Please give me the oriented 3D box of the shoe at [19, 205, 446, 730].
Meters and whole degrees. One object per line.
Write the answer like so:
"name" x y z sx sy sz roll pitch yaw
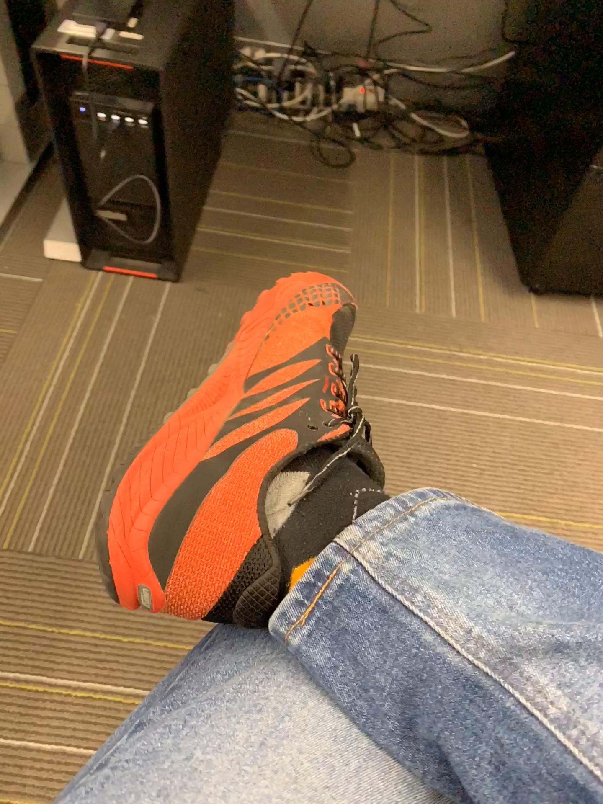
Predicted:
"shoe" -0.015 0.015 0.423 0.146 0.110 0.322 15 52 11

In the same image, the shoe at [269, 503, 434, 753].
"shoe" 0.081 0.316 0.910 0.117 0.067 0.319 26 55 7
